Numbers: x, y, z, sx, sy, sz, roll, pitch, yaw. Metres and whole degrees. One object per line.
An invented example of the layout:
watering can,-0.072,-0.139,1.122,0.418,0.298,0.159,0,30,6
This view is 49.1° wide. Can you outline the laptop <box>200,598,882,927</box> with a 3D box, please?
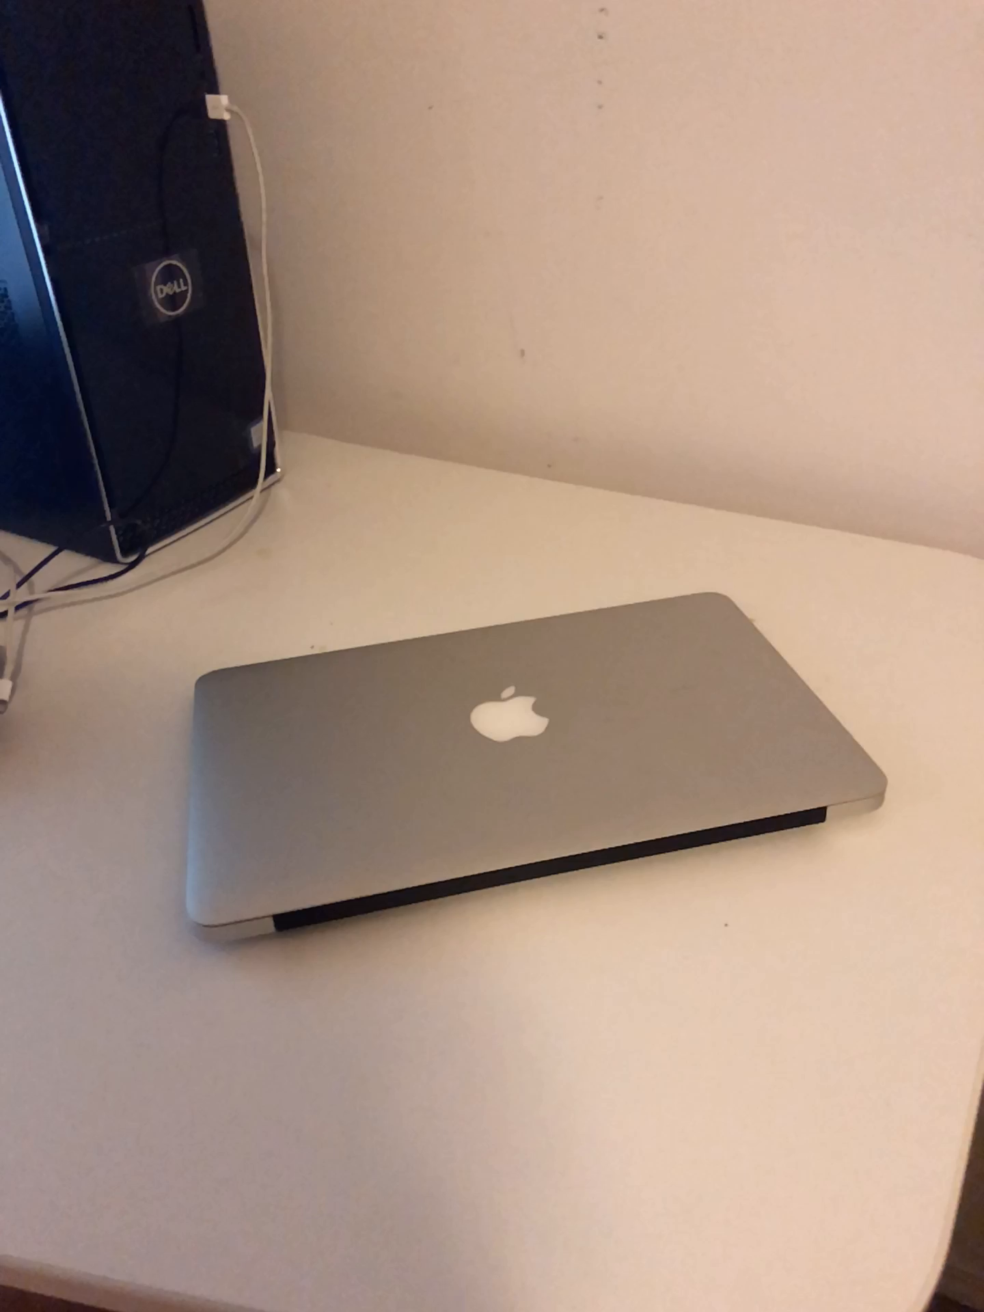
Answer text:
laptop,0.009,0.036,0.518,0.290,0.004,0.179,-9,32,-10
